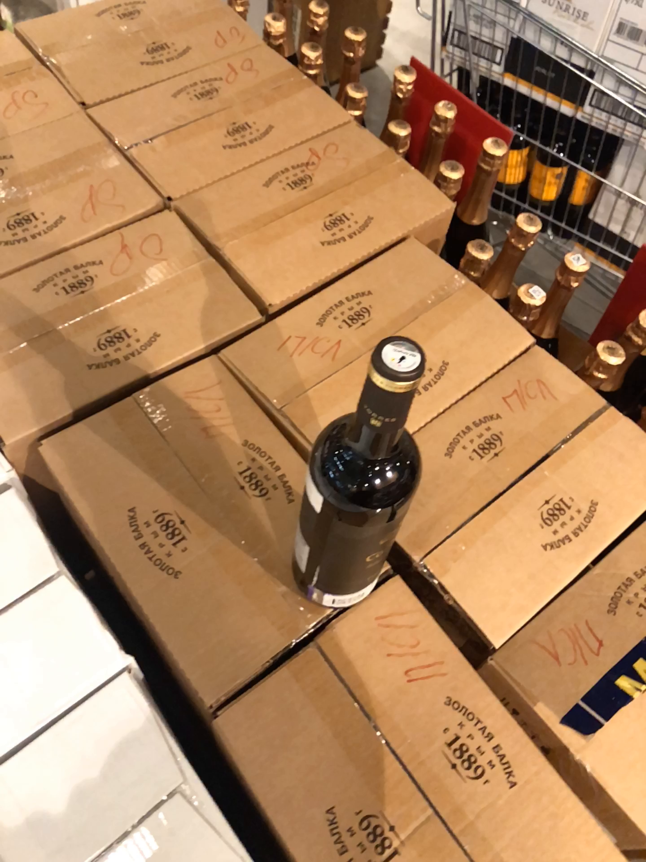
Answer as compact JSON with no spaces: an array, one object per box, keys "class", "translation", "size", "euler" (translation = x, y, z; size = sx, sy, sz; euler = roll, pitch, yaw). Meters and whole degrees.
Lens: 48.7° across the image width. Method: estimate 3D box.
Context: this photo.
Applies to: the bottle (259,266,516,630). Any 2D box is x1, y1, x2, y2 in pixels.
[{"class":"bottle","translation":[0.024,0.034,0.487],"size":[0.090,0.279,0.090],"euler":[3,59,-5]}]
